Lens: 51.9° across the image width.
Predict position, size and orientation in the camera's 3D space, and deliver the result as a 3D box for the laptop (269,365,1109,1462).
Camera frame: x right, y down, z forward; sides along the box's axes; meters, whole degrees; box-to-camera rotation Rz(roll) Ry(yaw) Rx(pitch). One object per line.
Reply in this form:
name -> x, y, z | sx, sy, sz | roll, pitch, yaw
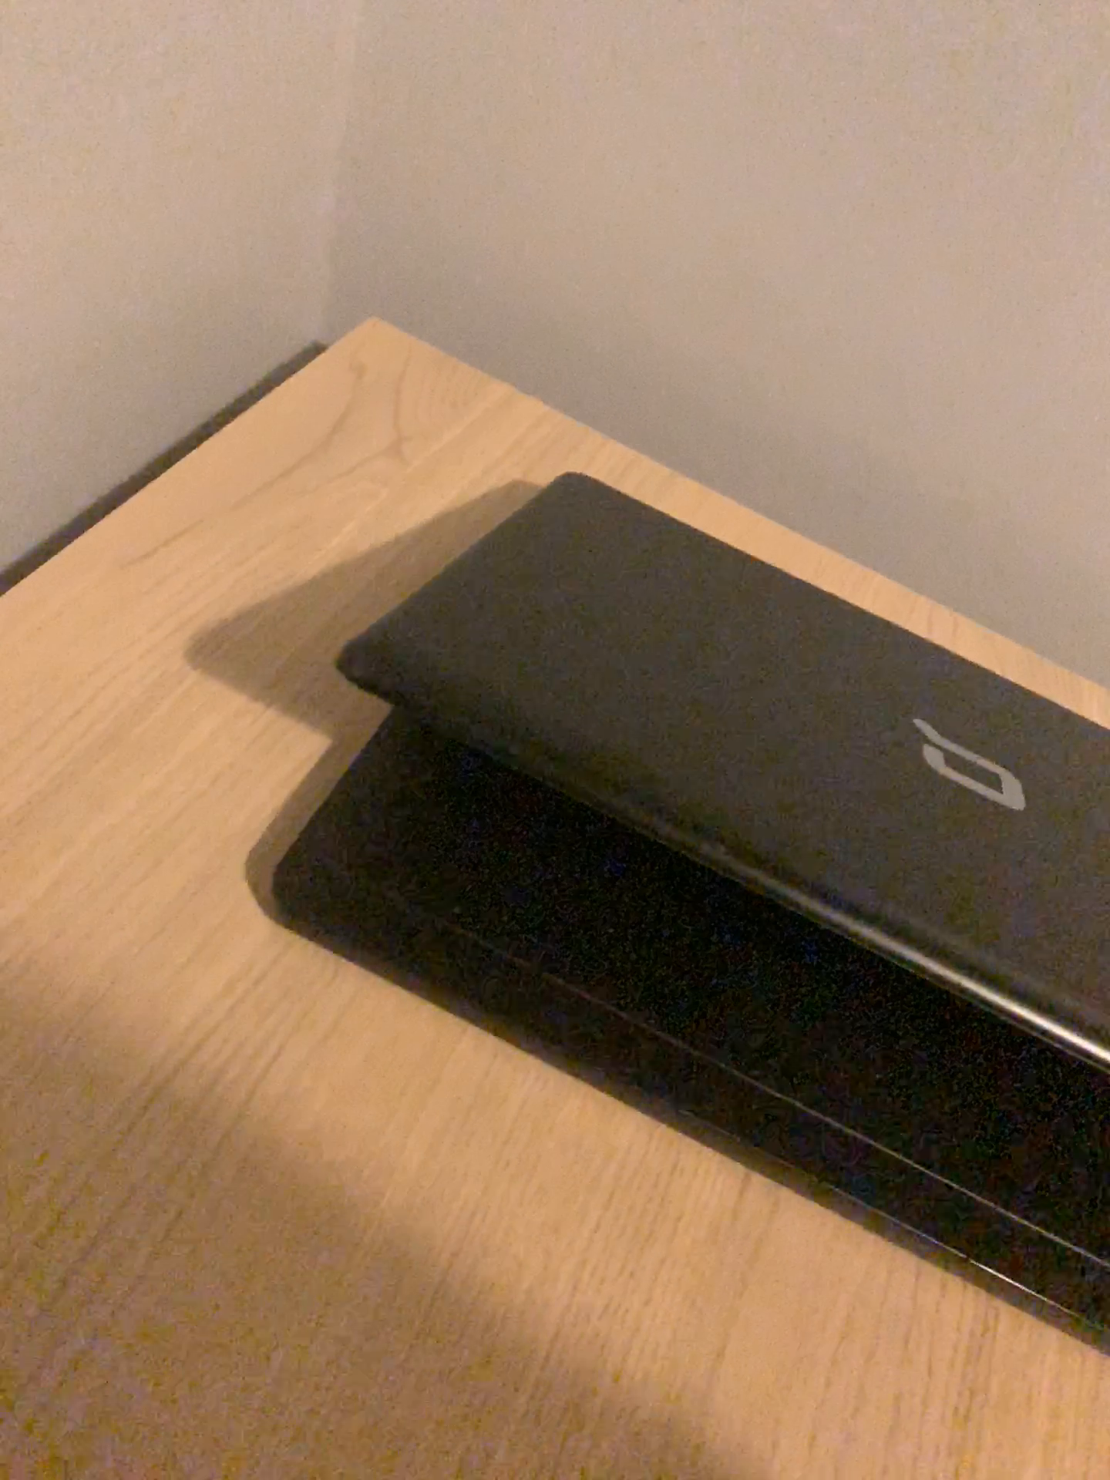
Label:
laptop -> 0.130, 0.032, 0.390 | 0.373, 0.064, 0.225 | 26, 51, 3
